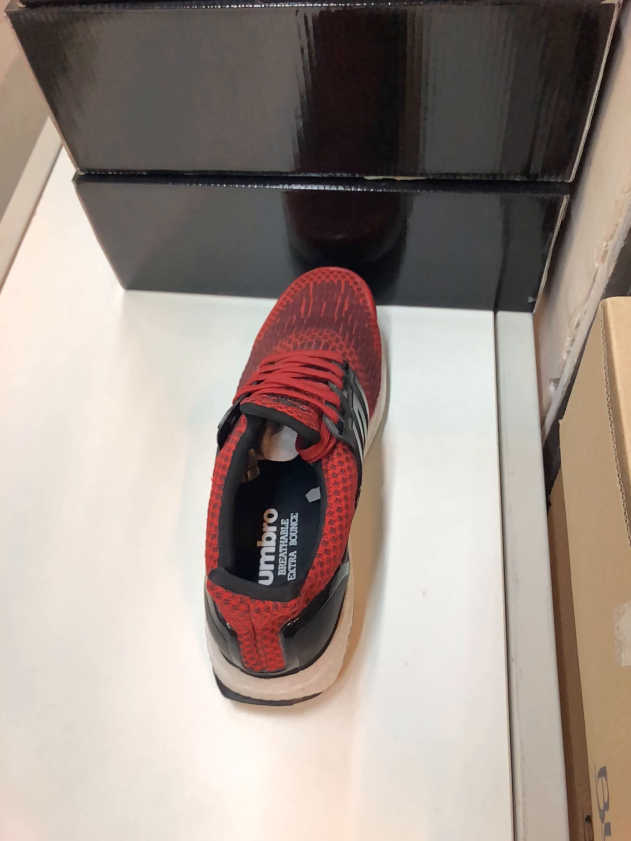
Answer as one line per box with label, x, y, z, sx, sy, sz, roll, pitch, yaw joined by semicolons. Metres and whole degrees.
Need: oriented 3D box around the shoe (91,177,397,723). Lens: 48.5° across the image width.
shoe;-0.017;0.005;0.397;0.111;0.108;0.287;3;60;7
